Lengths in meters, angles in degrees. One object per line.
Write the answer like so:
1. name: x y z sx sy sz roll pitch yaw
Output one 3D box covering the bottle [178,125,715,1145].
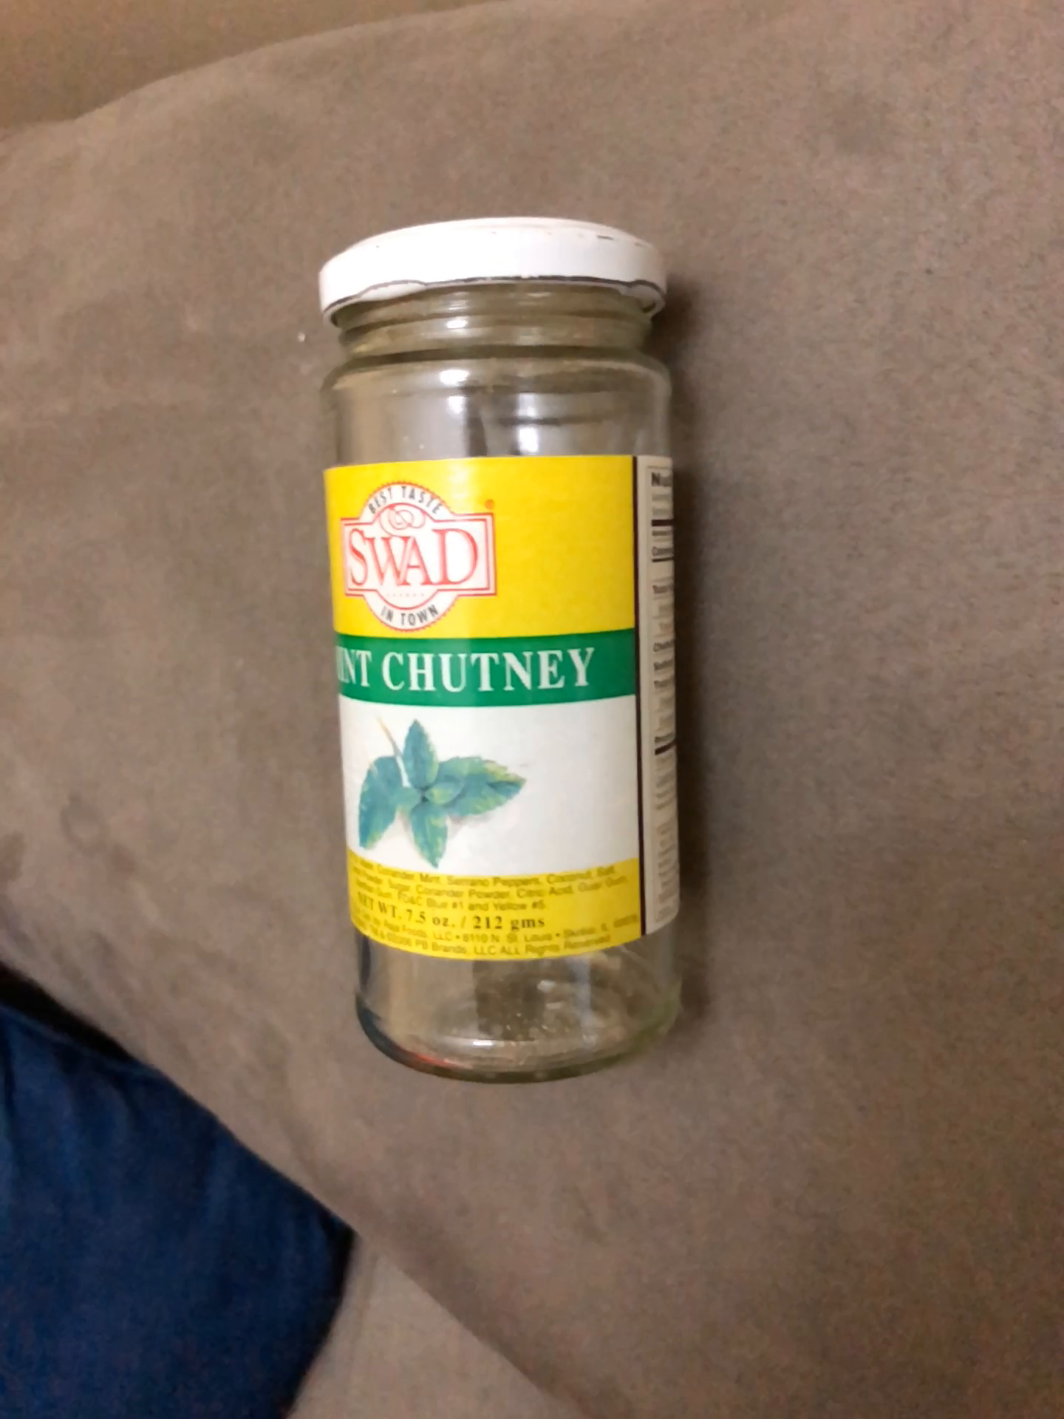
1. bottle: -0.011 -0.012 0.202 0.060 0.059 0.137 5 101 37
